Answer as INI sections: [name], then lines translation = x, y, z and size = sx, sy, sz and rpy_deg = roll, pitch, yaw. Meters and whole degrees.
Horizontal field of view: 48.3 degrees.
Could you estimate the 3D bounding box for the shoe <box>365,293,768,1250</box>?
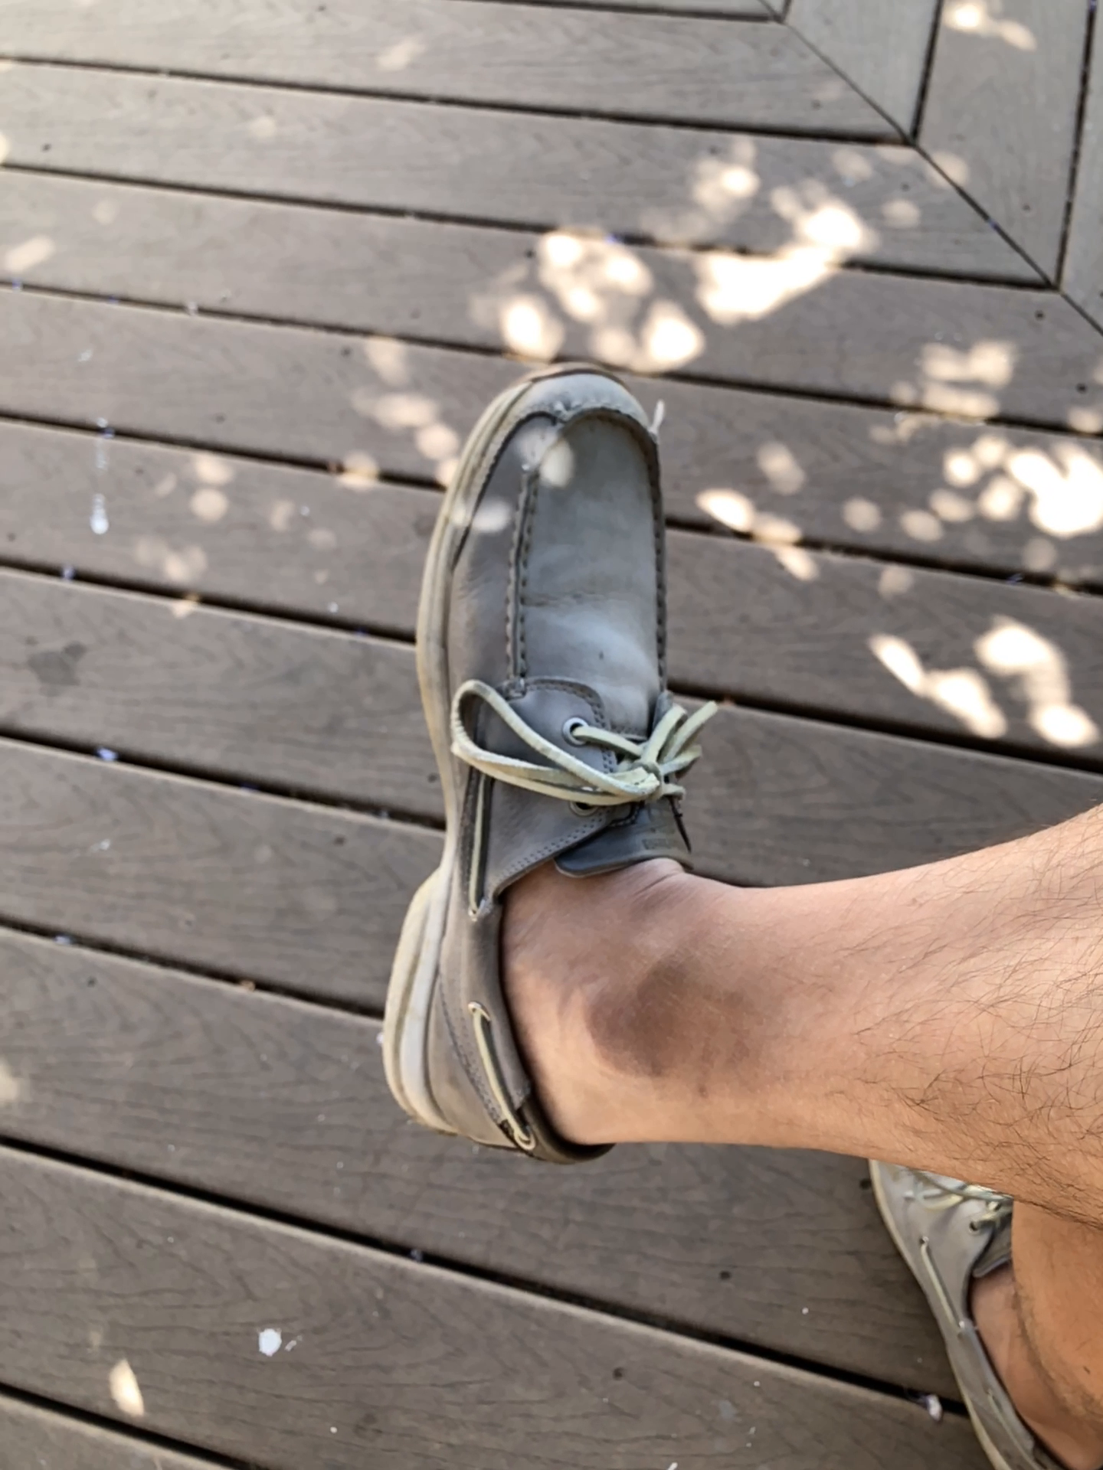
[shoe]
translation = 0.008, 0.013, 0.487
size = 0.083, 0.116, 0.326
rpy_deg = 4, 91, 45
